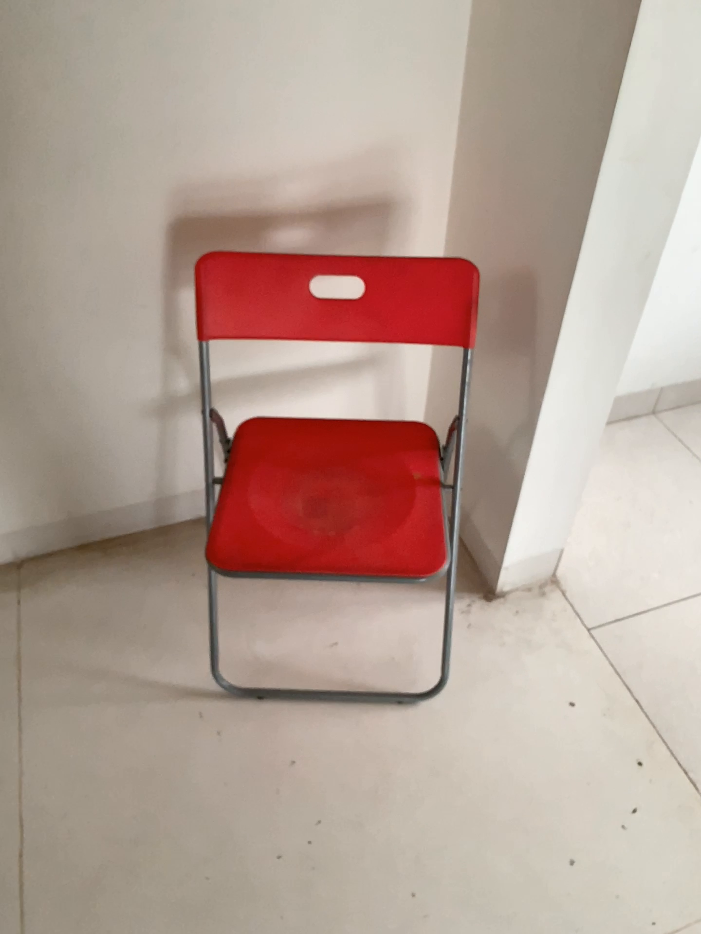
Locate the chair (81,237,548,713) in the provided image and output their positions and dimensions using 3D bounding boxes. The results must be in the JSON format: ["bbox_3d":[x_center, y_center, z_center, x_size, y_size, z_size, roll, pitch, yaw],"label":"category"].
[{"bbox_3d":[-0.042,0.022,1.211,0.530,0.608,0.502,1,43,0],"label":"chair"}]
